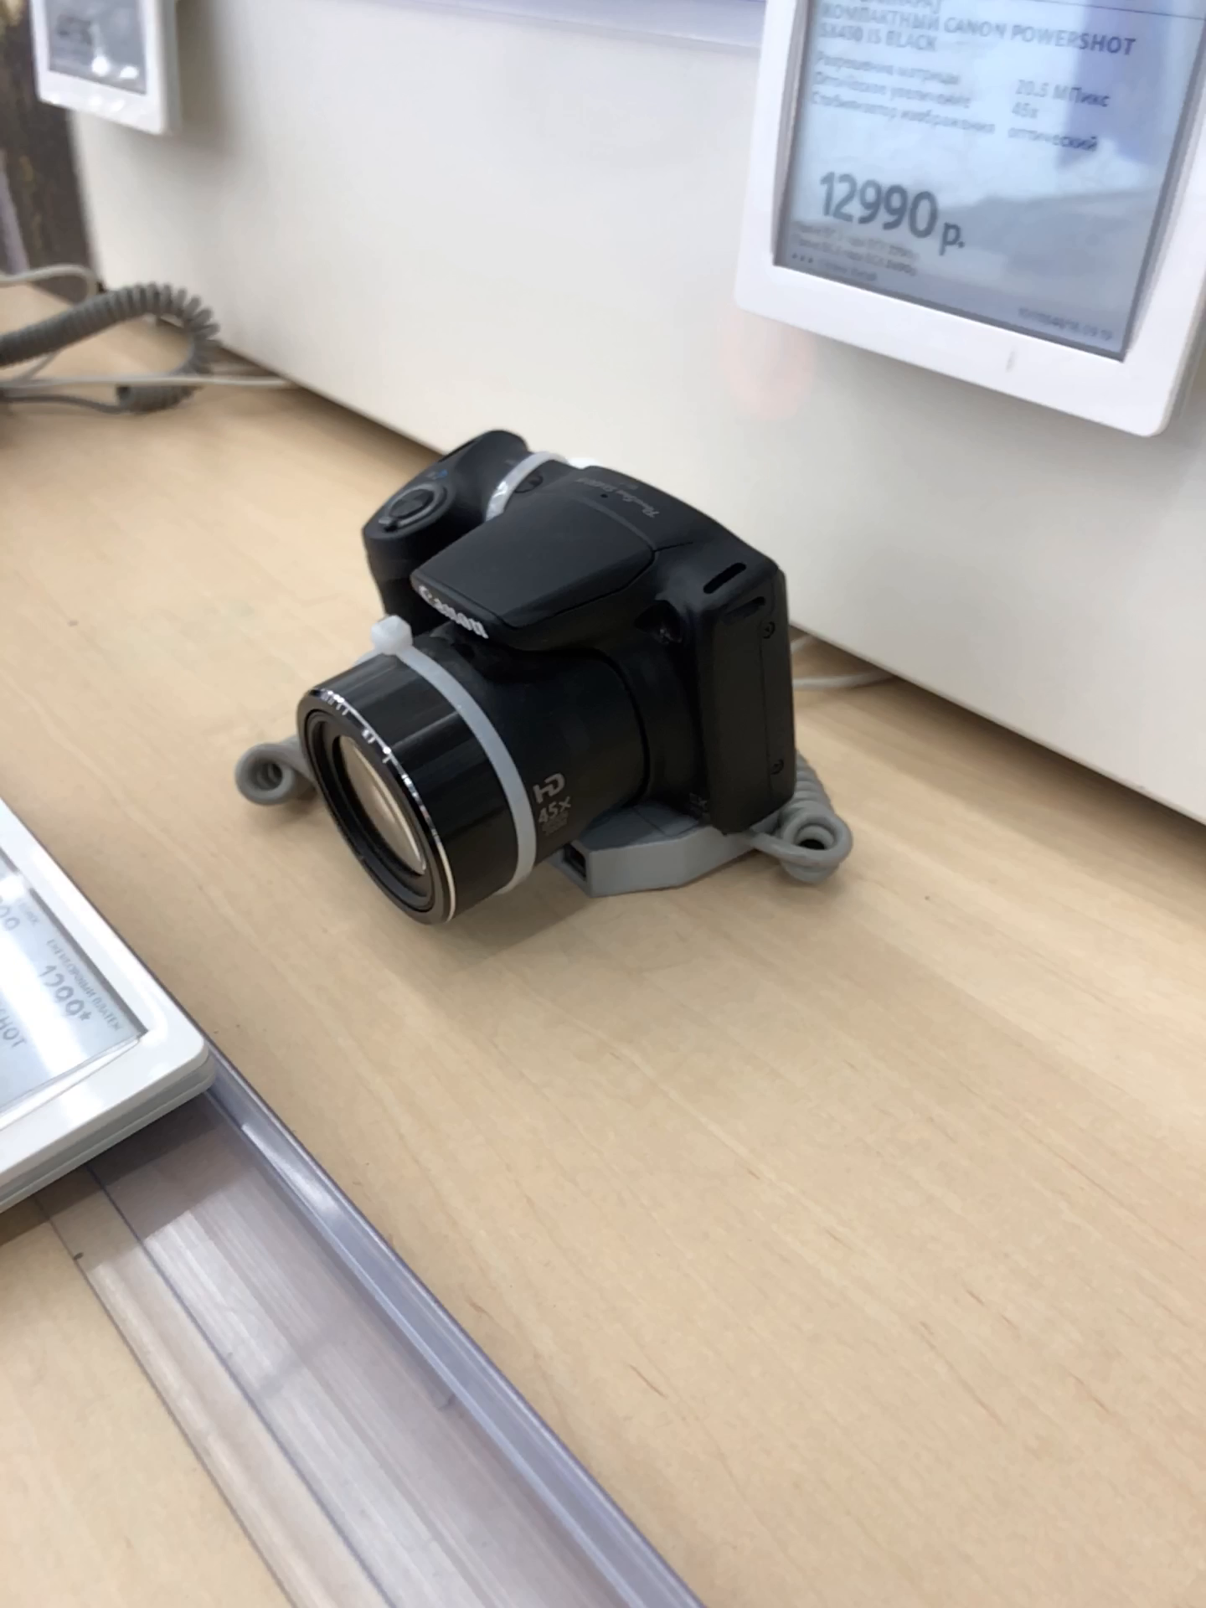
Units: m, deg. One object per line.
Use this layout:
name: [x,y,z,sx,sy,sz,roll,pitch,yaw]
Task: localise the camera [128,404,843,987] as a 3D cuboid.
camera: [-0.027,-0.034,0.292,0.093,0.062,0.117,-26,43,-37]
